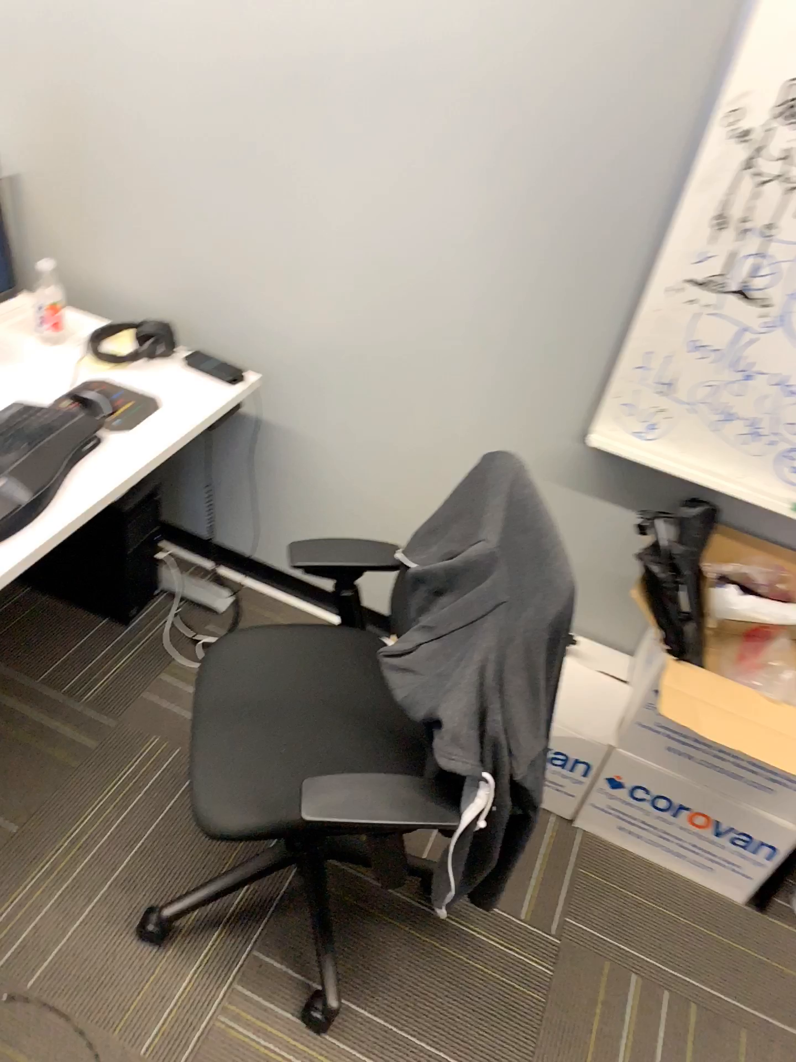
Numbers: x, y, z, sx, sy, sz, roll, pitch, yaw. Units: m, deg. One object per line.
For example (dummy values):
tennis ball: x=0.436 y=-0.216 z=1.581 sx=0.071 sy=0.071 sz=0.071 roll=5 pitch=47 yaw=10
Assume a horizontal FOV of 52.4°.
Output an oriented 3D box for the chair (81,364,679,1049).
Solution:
chair: x=-0.103 y=0.358 z=1.577 sx=0.730 sy=0.994 sz=0.775 roll=8 pitch=37 yaw=-7
